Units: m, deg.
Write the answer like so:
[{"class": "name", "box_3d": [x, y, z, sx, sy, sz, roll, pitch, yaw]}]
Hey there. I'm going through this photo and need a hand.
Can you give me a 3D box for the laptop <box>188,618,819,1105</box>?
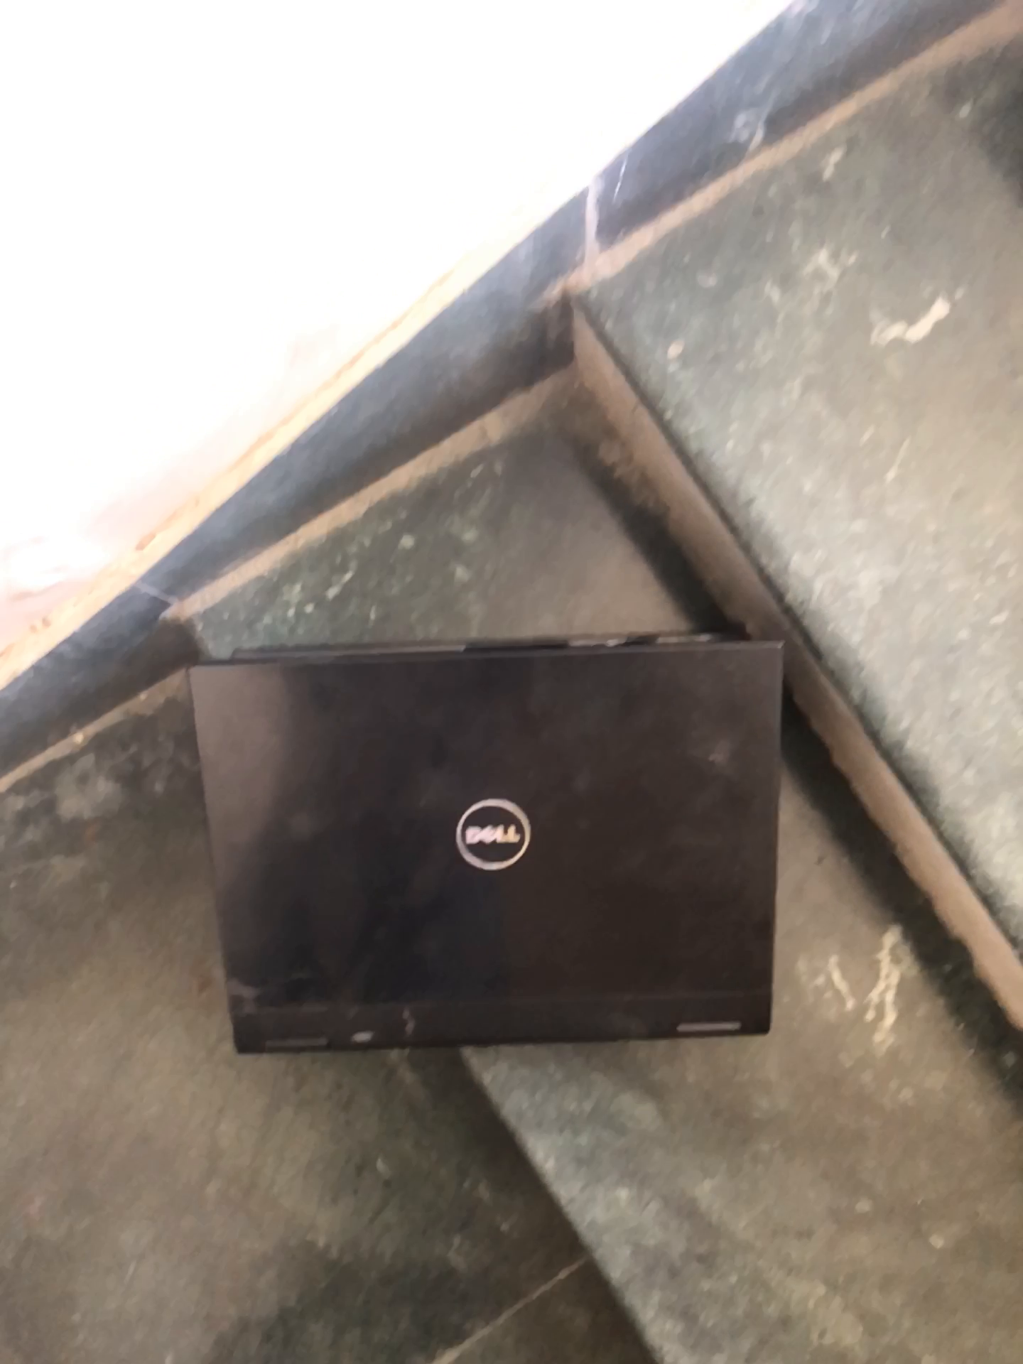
[{"class": "laptop", "box_3d": [-0.007, 0.091, 0.613, 0.302, 0.095, 0.232, -2, 85, -1]}]
